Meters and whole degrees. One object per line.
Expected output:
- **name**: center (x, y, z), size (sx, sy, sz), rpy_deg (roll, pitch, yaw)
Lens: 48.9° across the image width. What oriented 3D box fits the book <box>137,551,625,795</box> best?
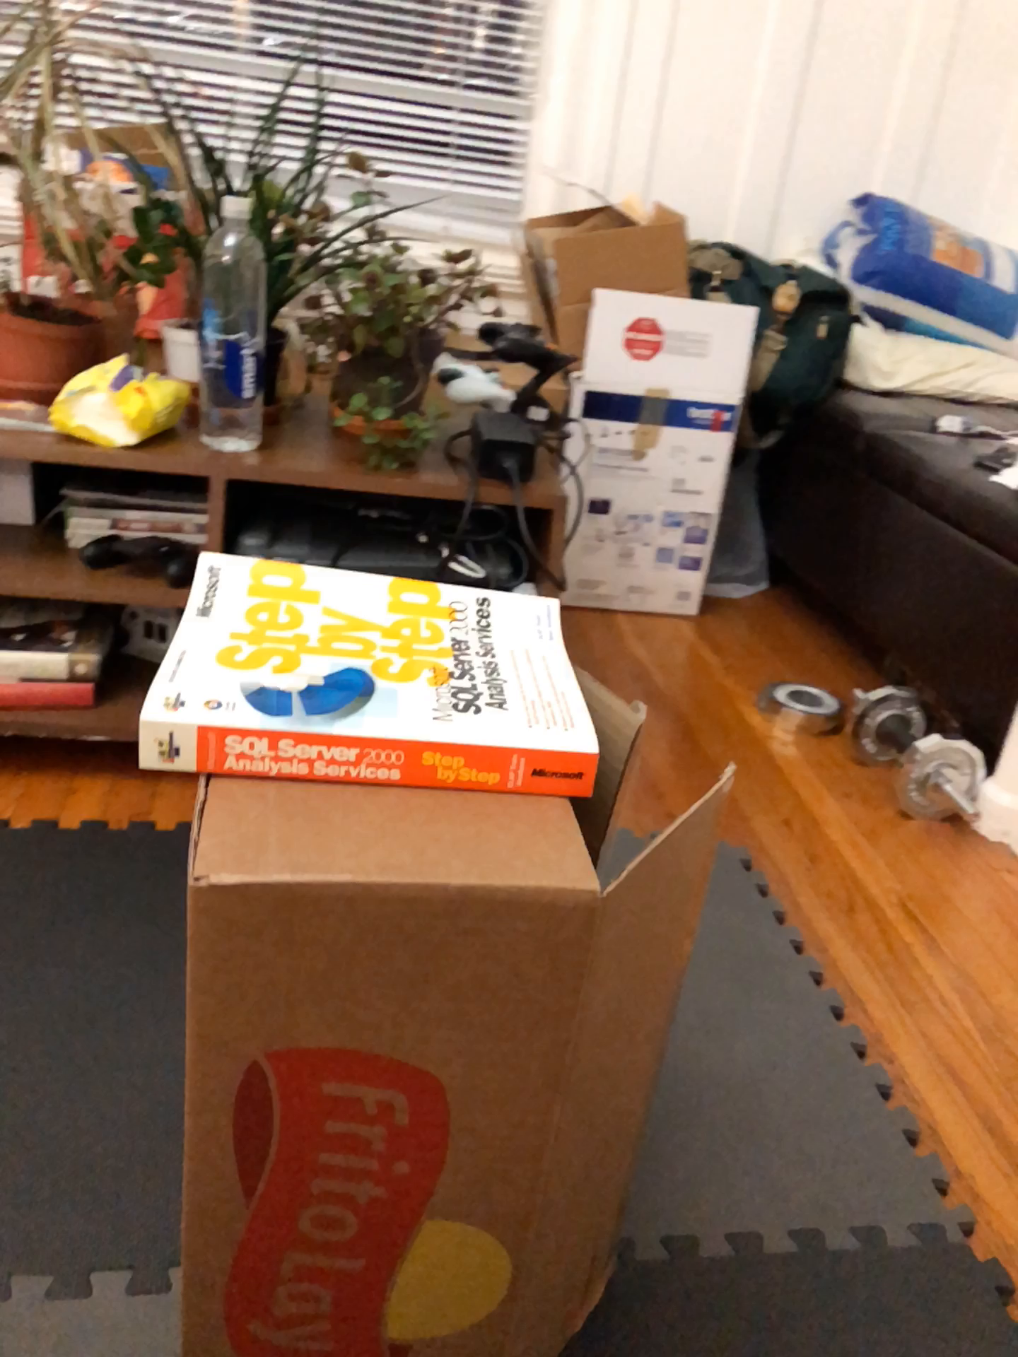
- **book**: center (-0.076, -0.010, 0.654), size (0.240, 0.050, 0.201), rpy_deg (5, 21, -12)
